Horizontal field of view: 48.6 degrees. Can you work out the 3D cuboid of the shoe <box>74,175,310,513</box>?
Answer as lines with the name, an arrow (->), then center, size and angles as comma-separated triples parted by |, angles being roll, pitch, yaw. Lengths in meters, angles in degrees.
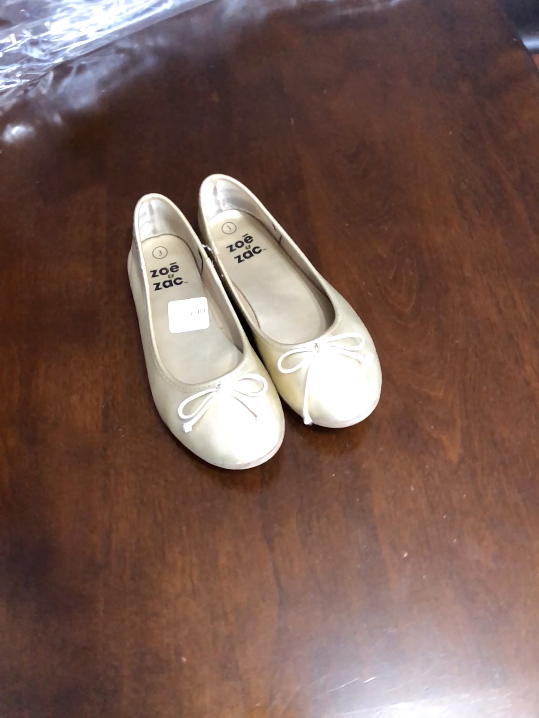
shoe -> -0.059, -0.020, 0.428 | 0.080, 0.070, 0.230 | -23, 61, -10

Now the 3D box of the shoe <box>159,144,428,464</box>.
shoe -> 0.008, -0.050, 0.448 | 0.090, 0.070, 0.230 | -25, 61, -11
